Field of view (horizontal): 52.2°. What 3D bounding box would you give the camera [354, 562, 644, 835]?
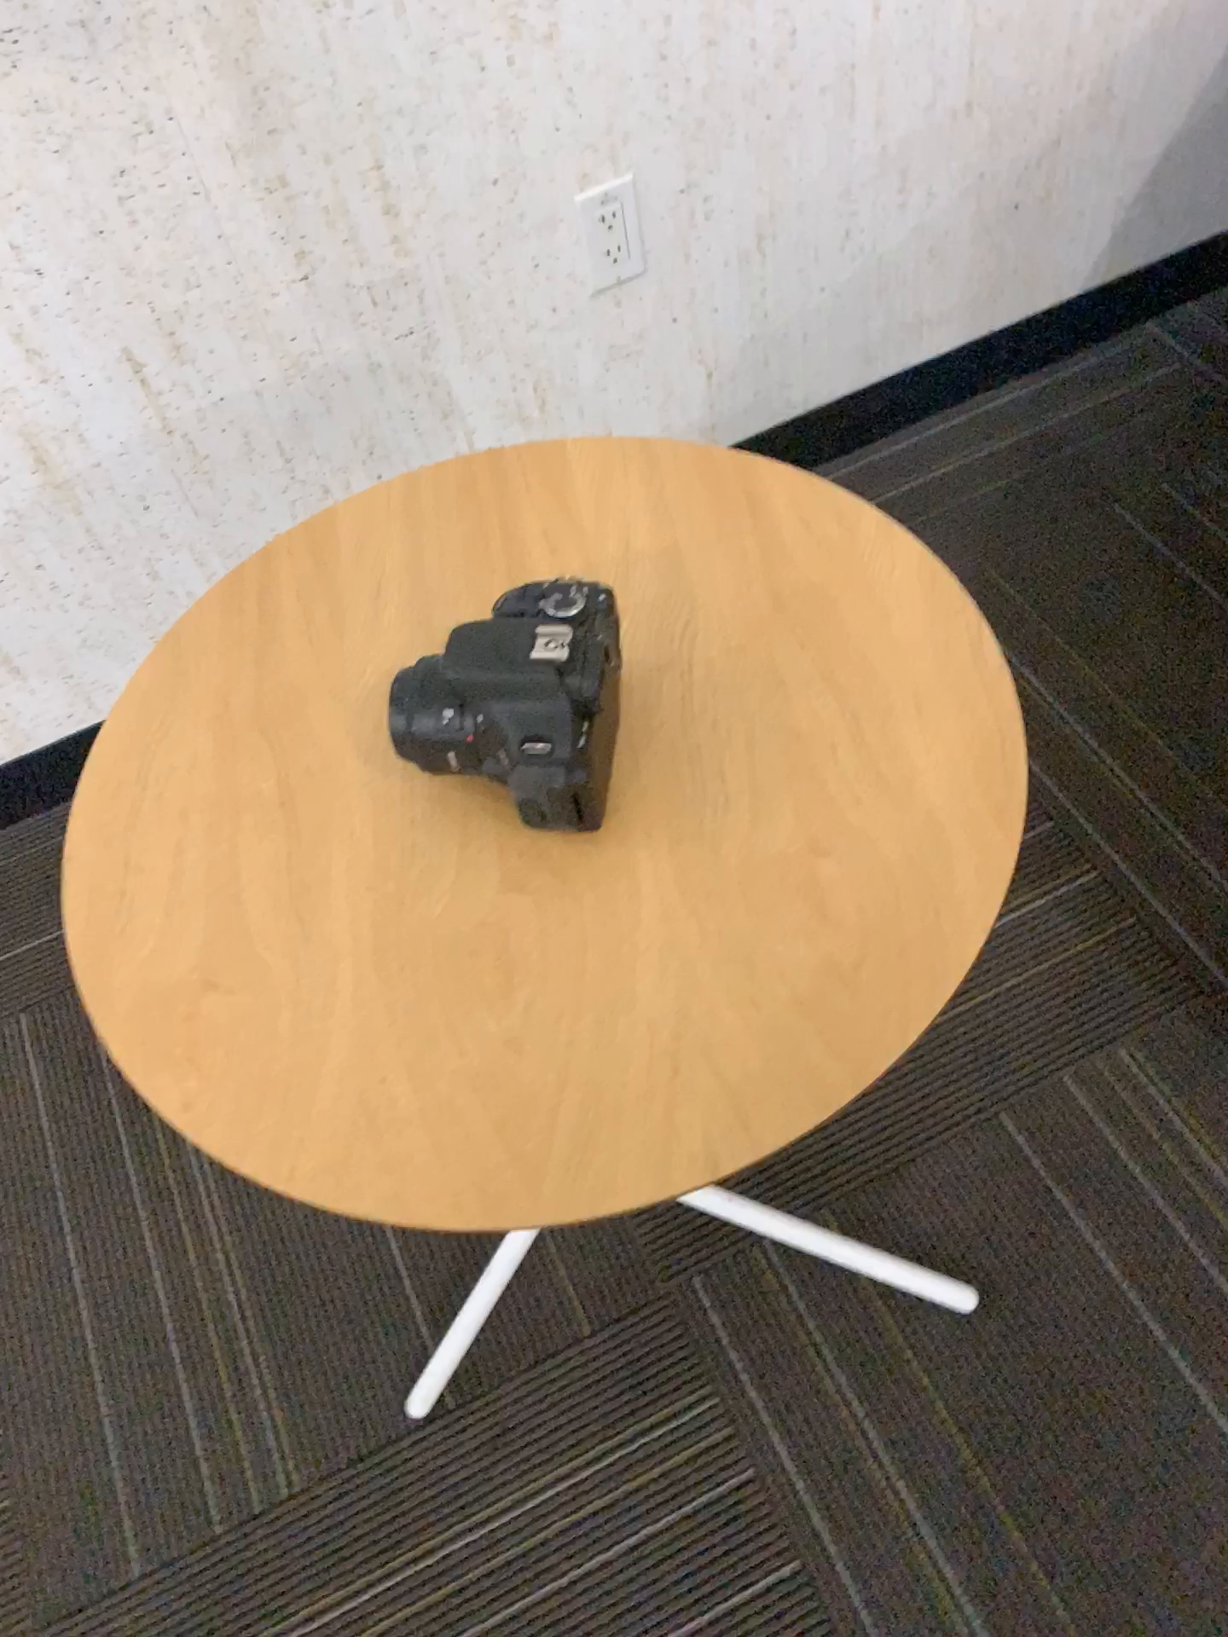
[{"bbox_3d":[-0.055,-0.064,0.671,0.125,0.080,0.120,0,56,9],"label":"camera"}]
